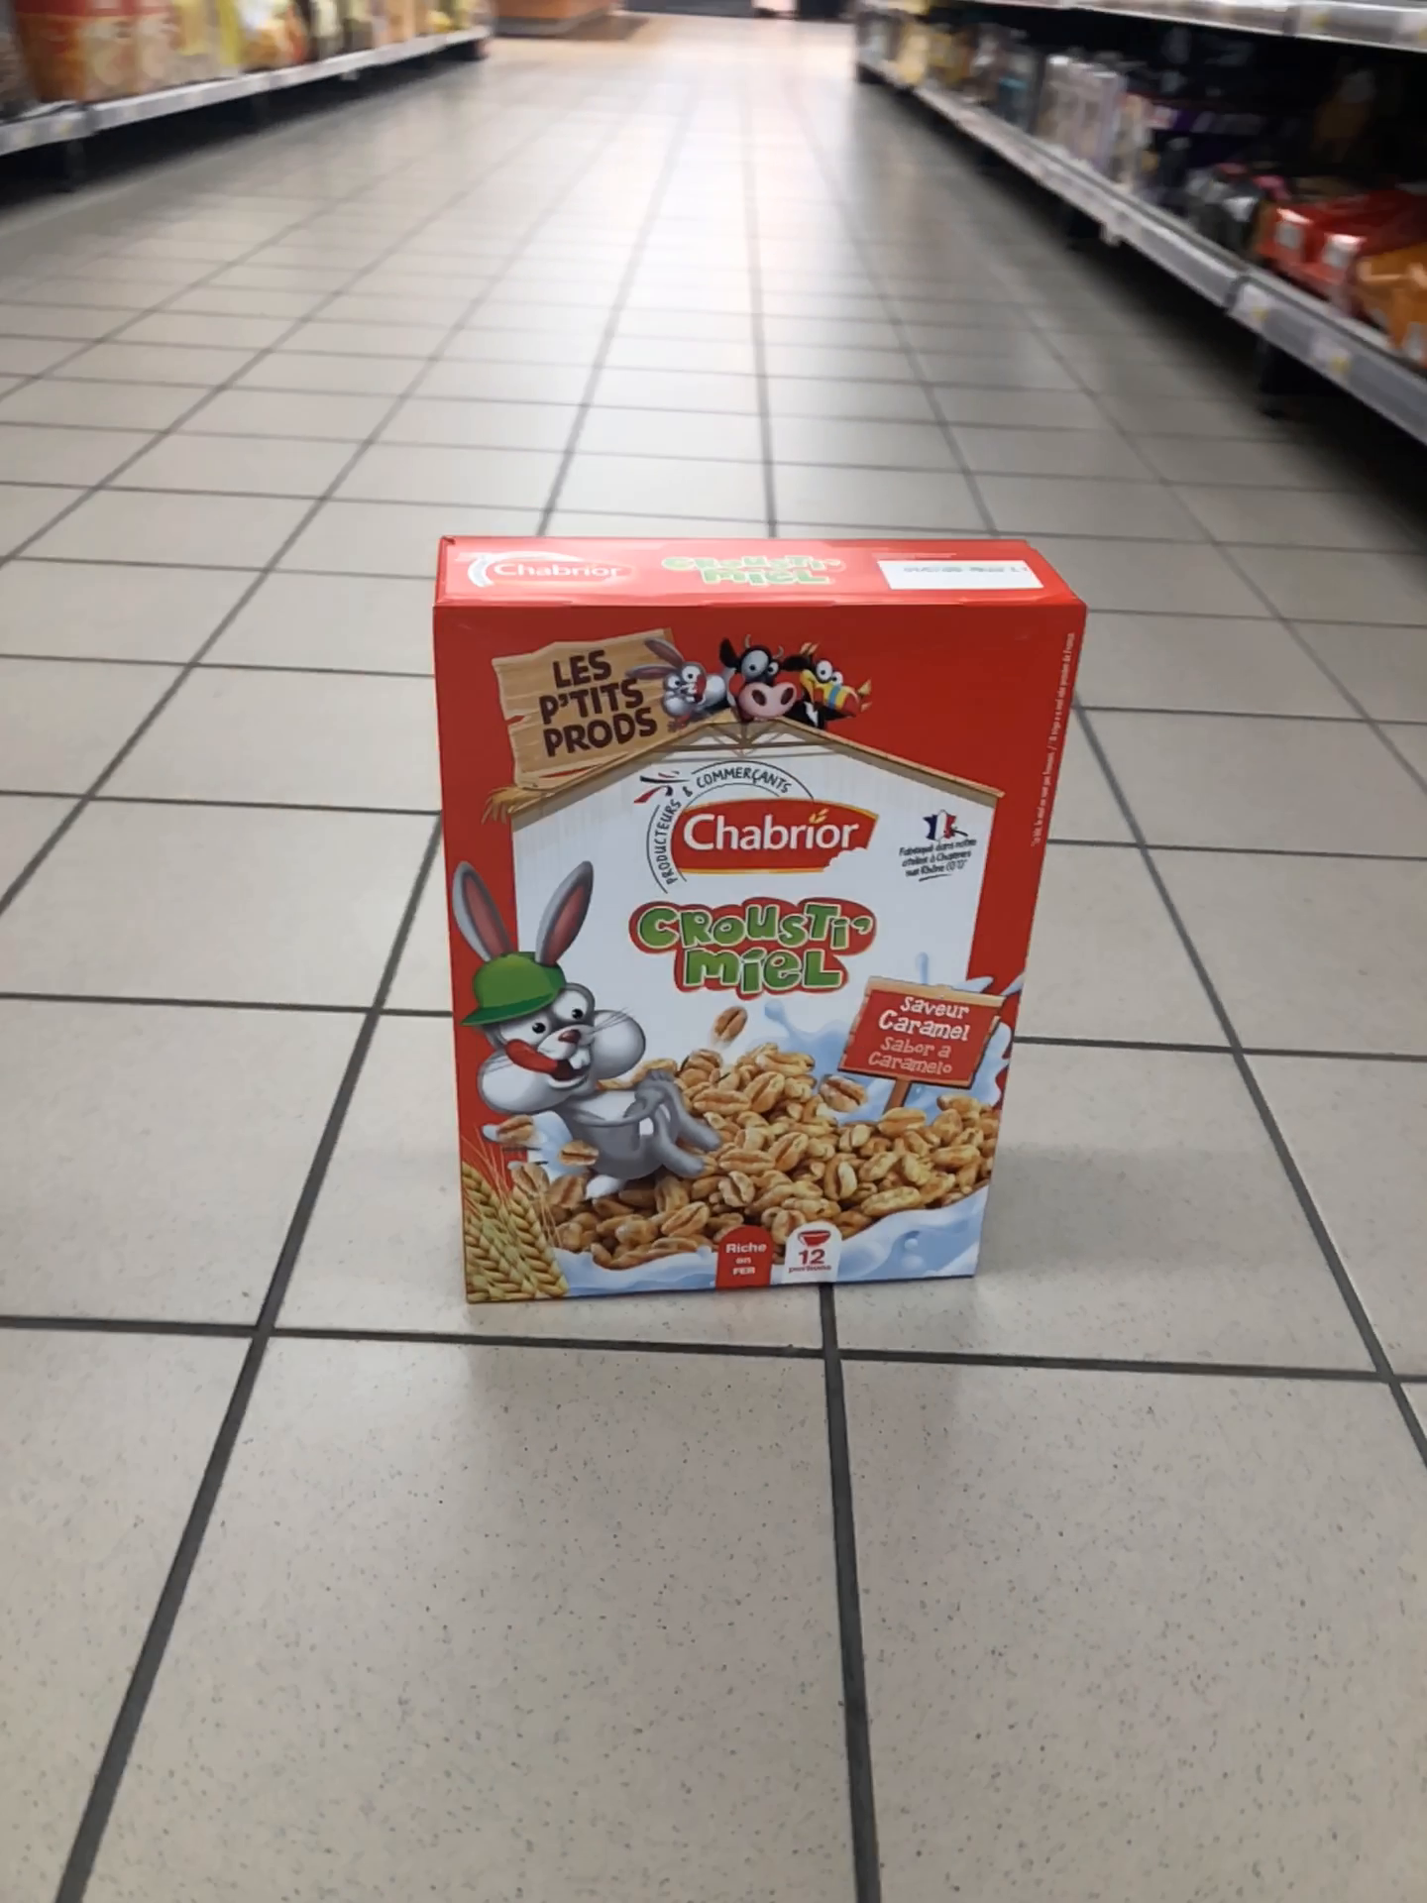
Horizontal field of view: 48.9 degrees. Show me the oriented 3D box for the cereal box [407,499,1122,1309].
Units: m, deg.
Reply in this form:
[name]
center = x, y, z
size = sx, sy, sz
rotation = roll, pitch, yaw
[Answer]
[cereal box]
center = 0.007, -0.007, 0.533
size = 0.200, 0.268, 0.070
rotation = -1, 31, -7
